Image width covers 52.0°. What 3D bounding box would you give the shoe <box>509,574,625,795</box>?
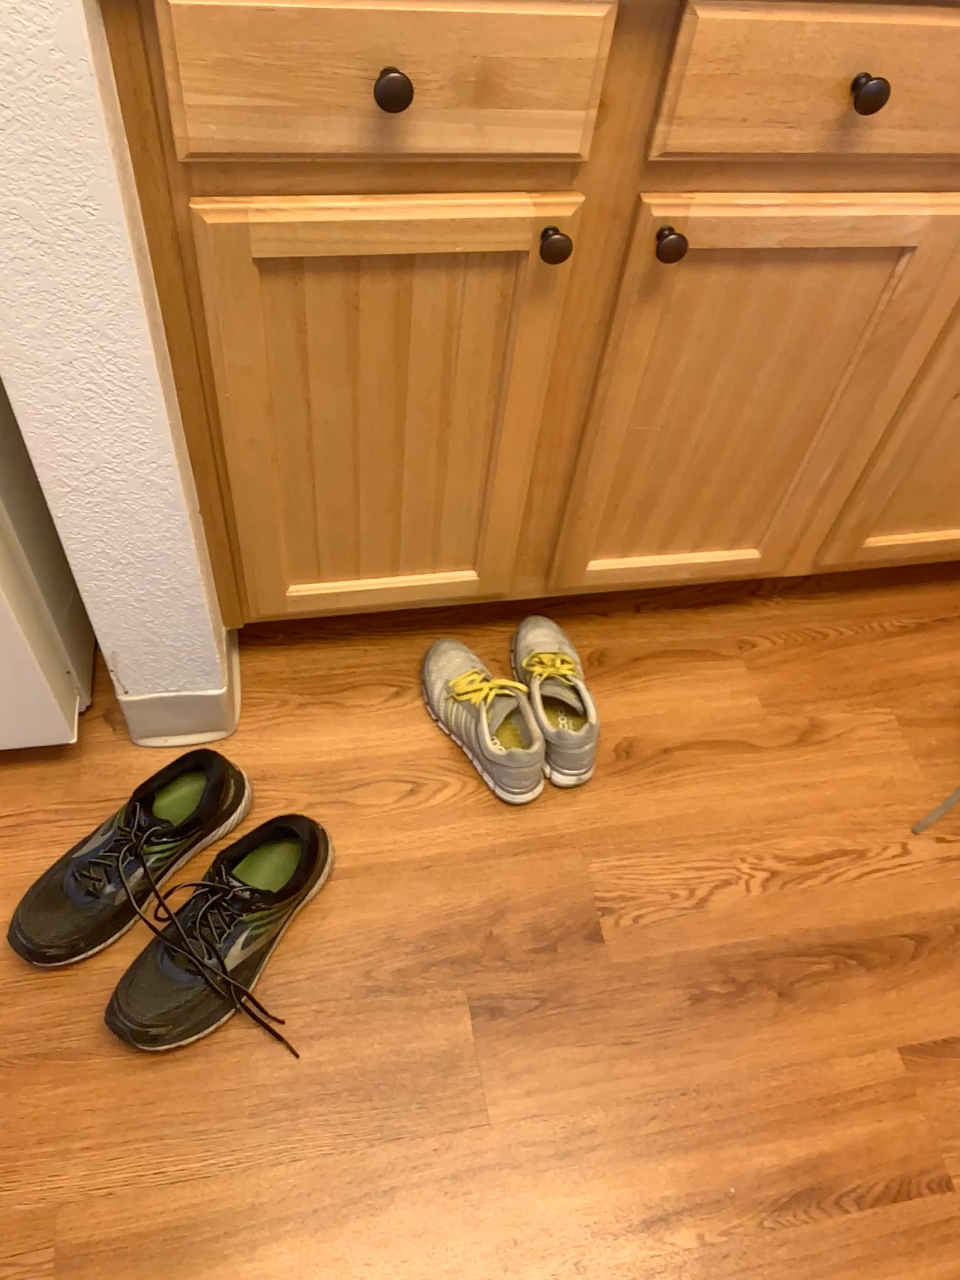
[{"bbox_3d":[0.110,0.056,1.325,0.100,0.110,0.271,-7,55,-4],"label":"shoe"}]

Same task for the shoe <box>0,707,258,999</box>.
[{"bbox_3d":[-0.385,0.225,1.060,0.100,0.139,0.281,37,58,19],"label":"shoe"}]

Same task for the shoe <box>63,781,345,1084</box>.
[{"bbox_3d":[-0.278,0.306,1.046,0.110,0.139,0.271,35,58,18],"label":"shoe"}]

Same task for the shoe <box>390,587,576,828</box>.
[{"bbox_3d":[-0.001,0.081,1.235,0.100,0.110,0.271,-26,61,-16],"label":"shoe"}]
